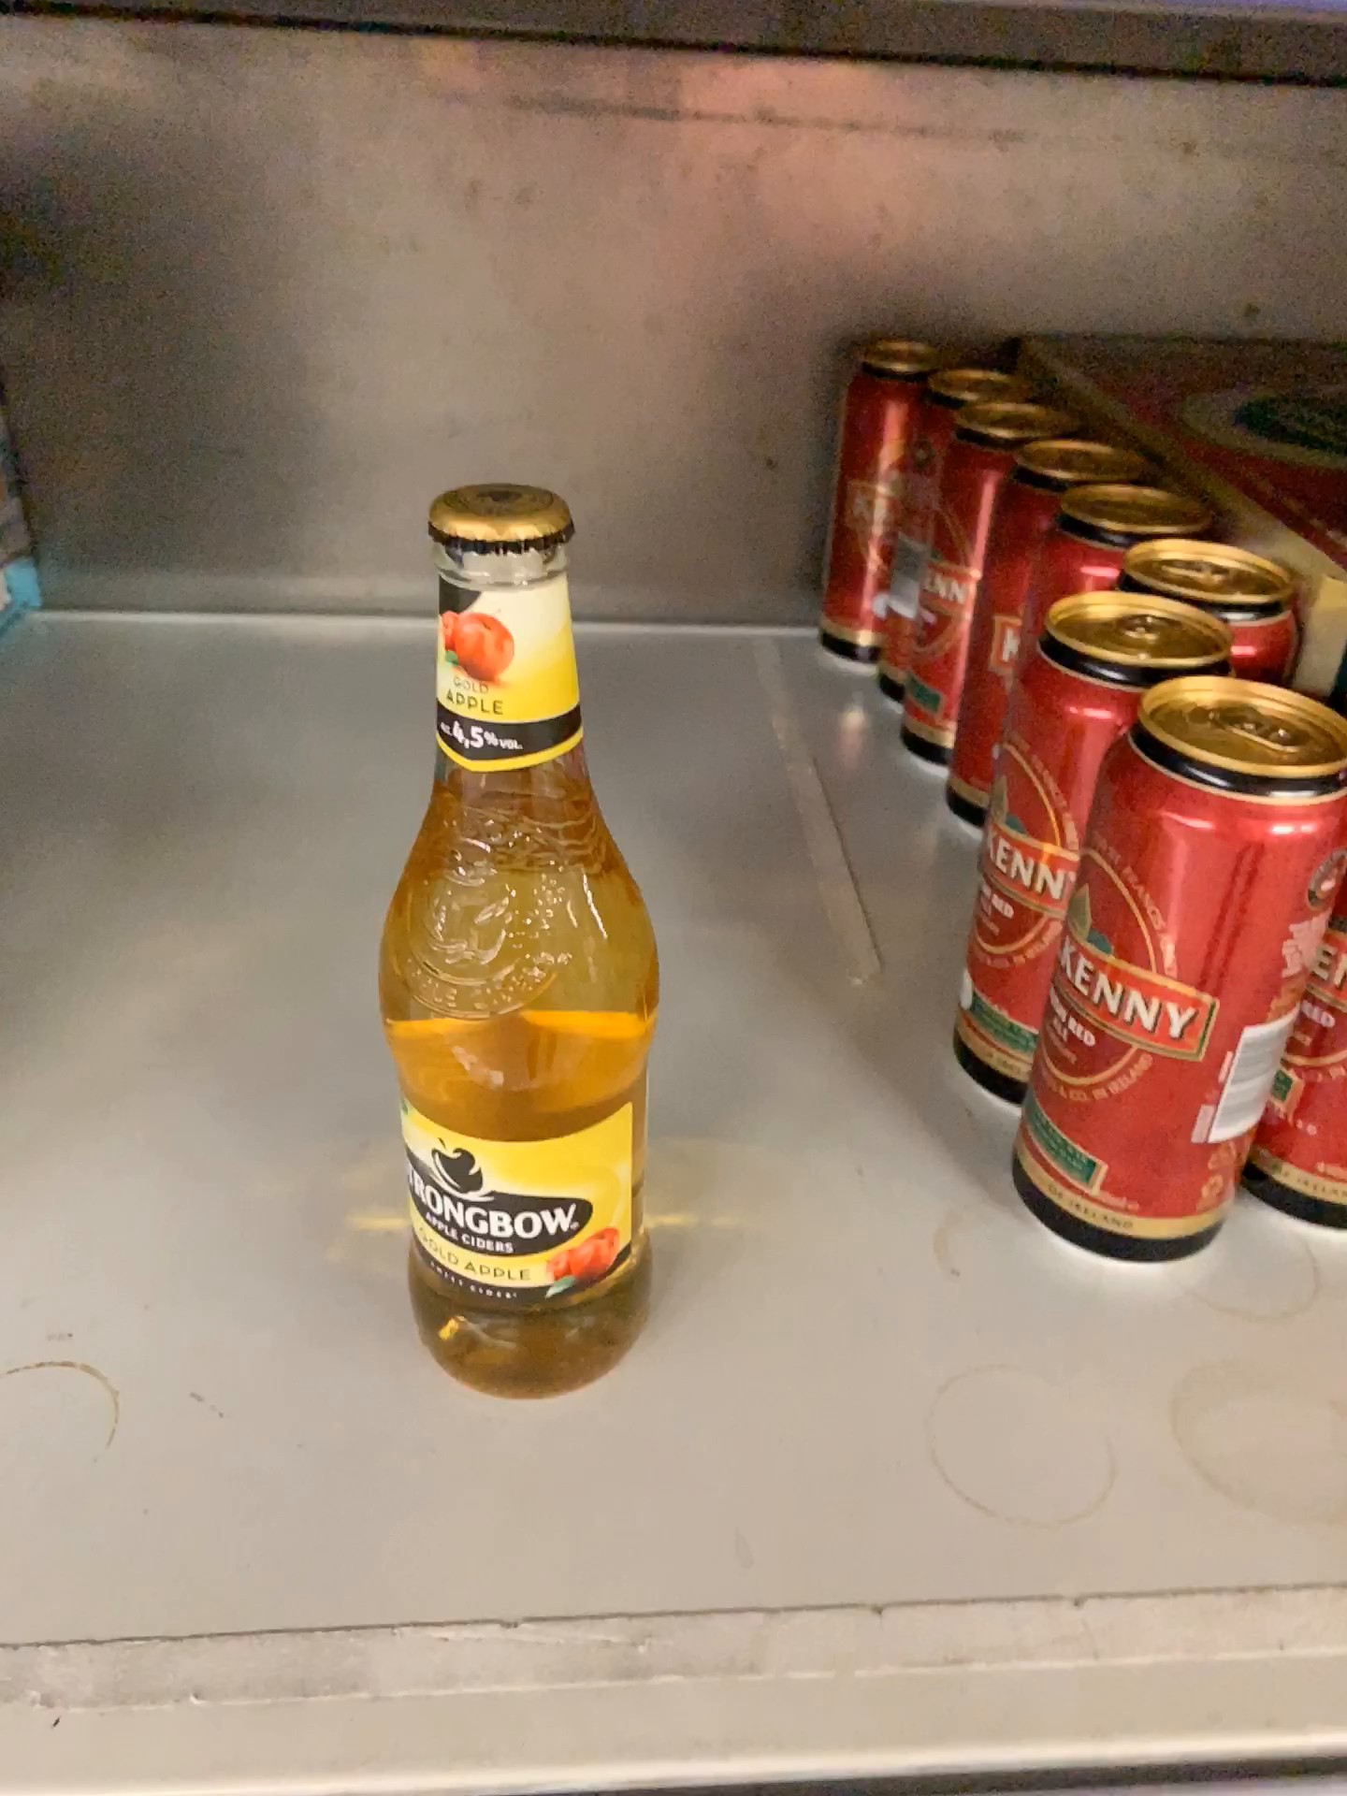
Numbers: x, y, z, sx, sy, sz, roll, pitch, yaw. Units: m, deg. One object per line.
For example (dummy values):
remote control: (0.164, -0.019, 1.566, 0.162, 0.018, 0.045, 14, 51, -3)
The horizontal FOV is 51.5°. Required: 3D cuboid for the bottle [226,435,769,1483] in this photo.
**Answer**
bottle: (-0.039, 0.021, 0.348, 0.080, 0.239, 0.080, 3, 31, -2)
